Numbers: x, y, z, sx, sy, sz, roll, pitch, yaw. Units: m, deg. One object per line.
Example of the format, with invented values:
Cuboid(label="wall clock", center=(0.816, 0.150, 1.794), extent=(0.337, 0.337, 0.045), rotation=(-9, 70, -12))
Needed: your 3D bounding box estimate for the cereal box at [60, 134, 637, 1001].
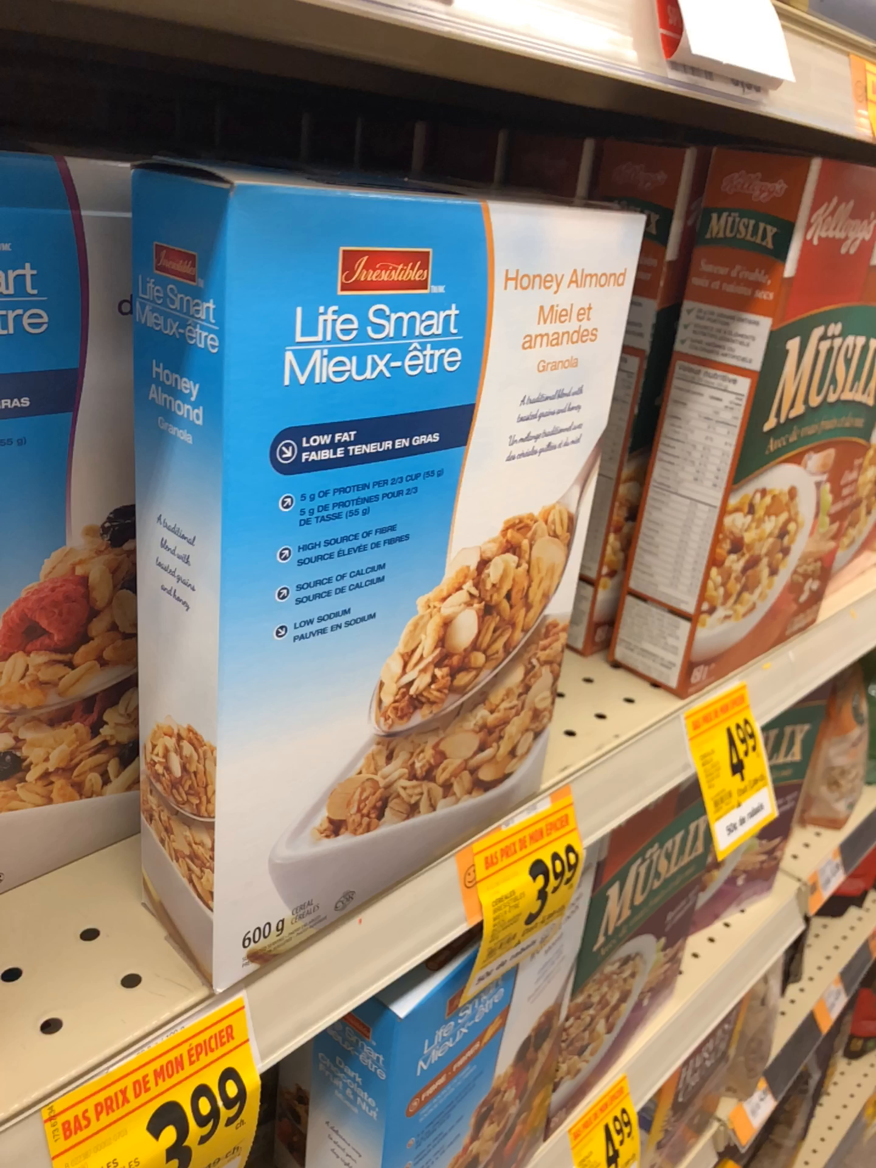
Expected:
Cuboid(label="cereal box", center=(-0.028, -0.011, 0.329), extent=(0.060, 0.238, 0.171), rotation=(26, 30, 36))
